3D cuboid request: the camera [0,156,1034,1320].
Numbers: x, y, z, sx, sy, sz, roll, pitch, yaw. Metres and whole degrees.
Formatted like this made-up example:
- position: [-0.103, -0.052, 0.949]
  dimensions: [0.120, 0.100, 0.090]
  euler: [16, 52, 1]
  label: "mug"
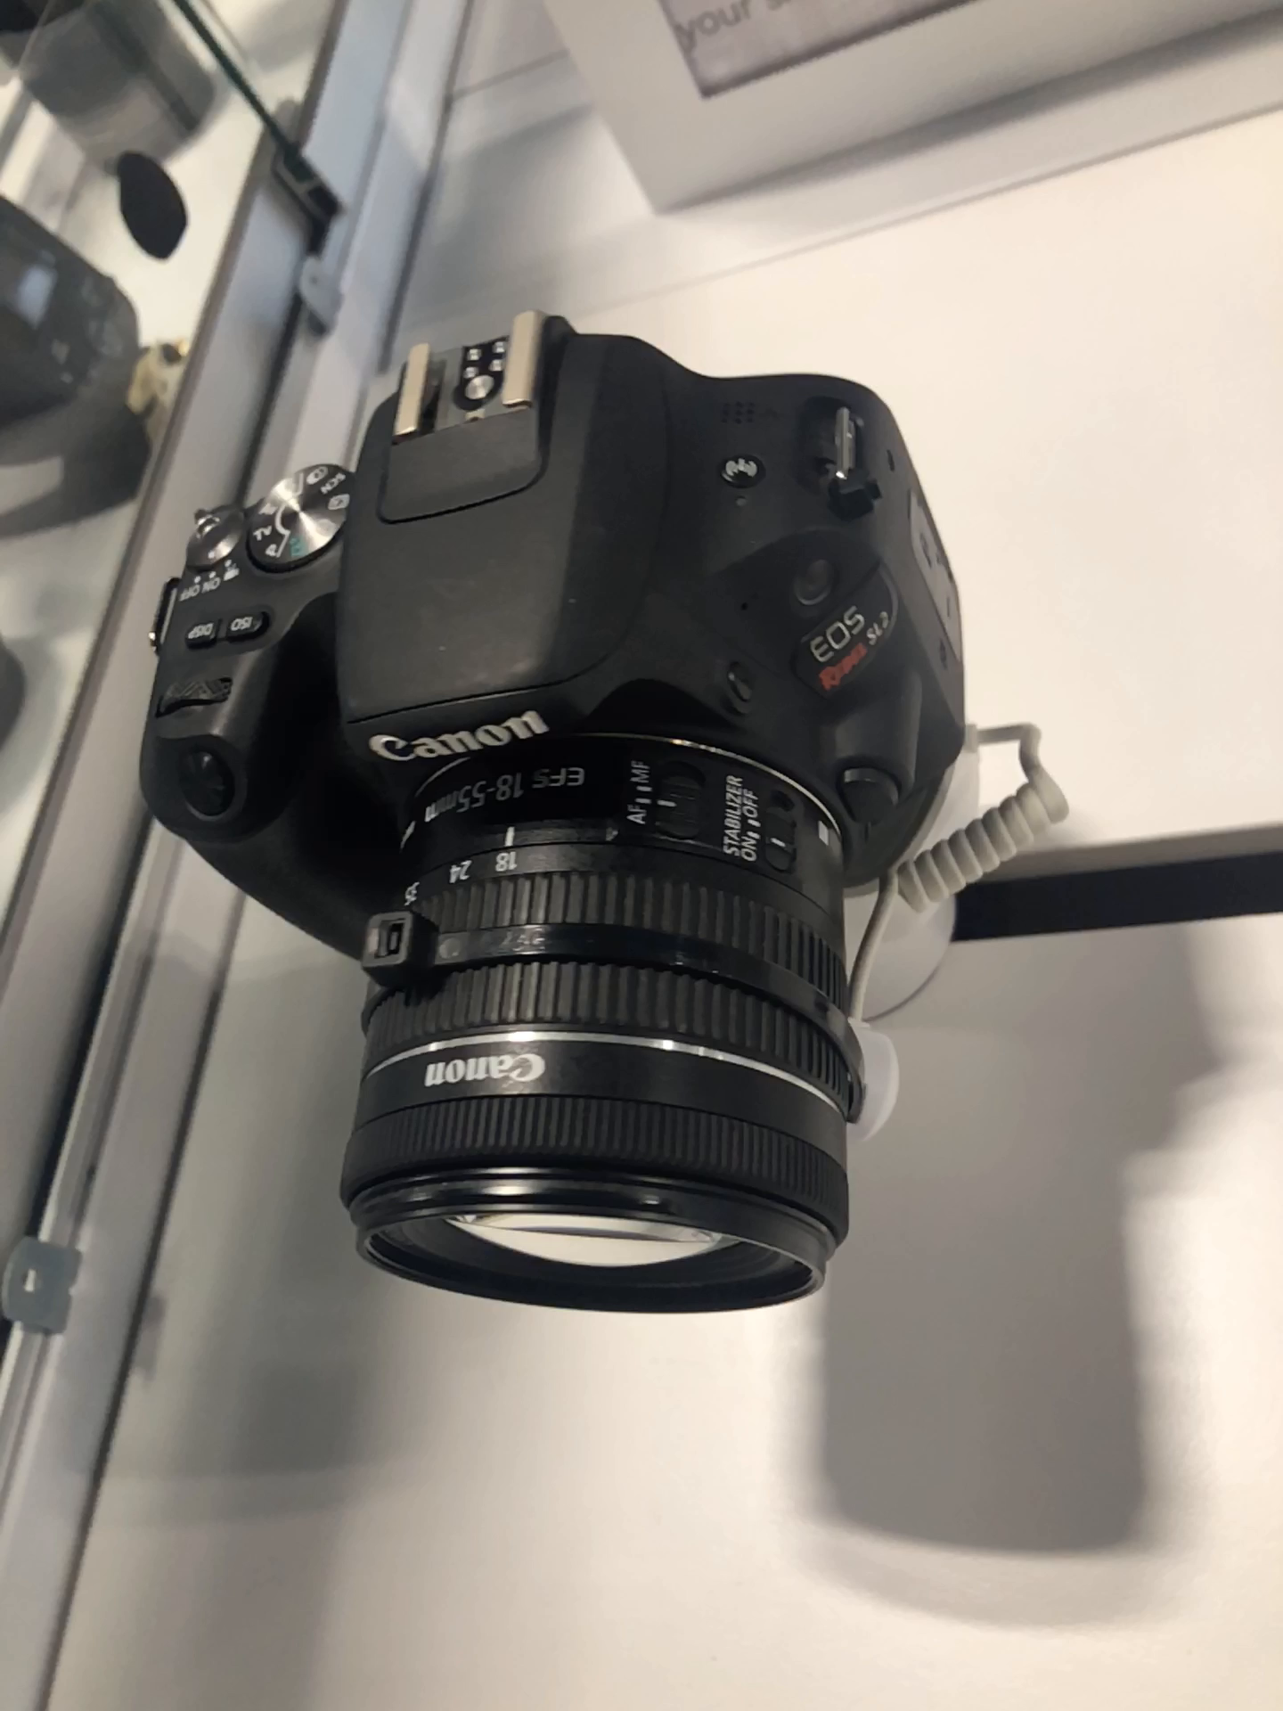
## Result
- position: [-0.019, -0.001, 0.203]
  dimensions: [0.122, 0.099, 0.110]
  euler: [-8, 60, 25]
  label: "camera"
